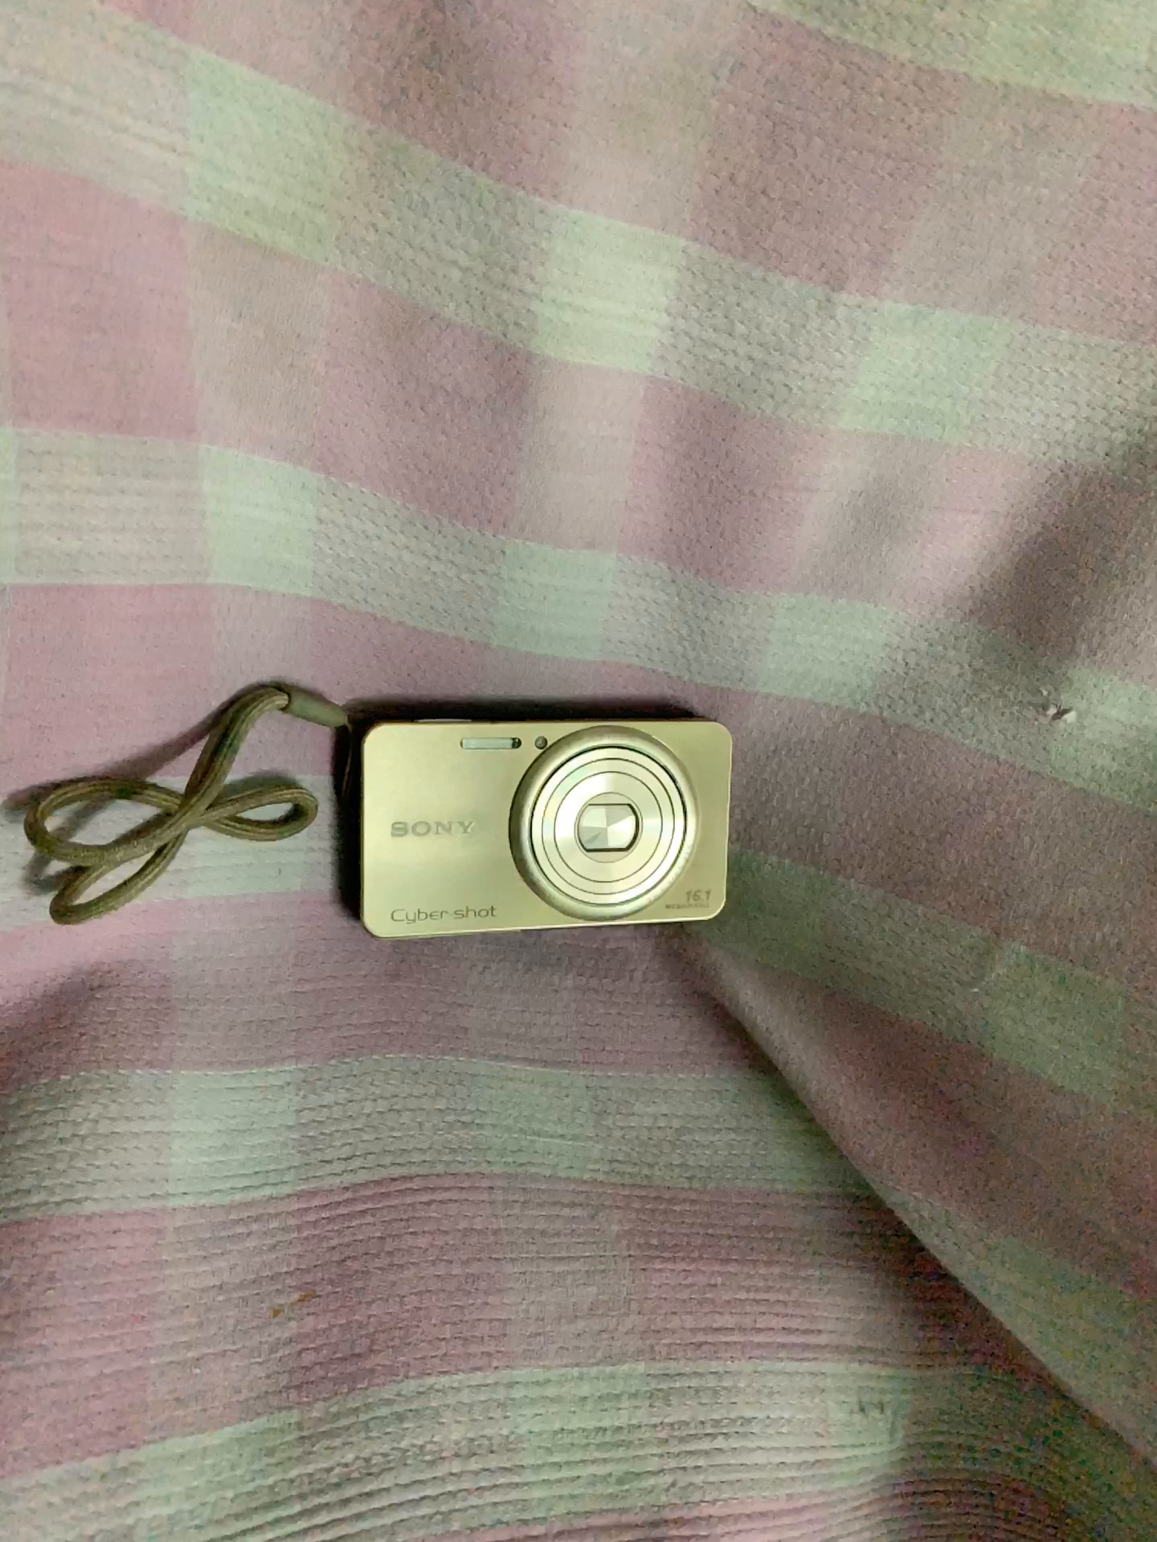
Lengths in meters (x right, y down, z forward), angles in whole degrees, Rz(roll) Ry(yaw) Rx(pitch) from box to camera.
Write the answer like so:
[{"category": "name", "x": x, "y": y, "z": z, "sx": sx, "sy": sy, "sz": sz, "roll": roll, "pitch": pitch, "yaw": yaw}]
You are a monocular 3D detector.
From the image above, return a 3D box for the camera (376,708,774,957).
[{"category": "camera", "x": -0.001, "y": 0.013, "z": 0.289, "sx": 0.091, "sy": 0.027, "sz": 0.053, "roll": -2, "pitch": 97, "yaw": -15}]
